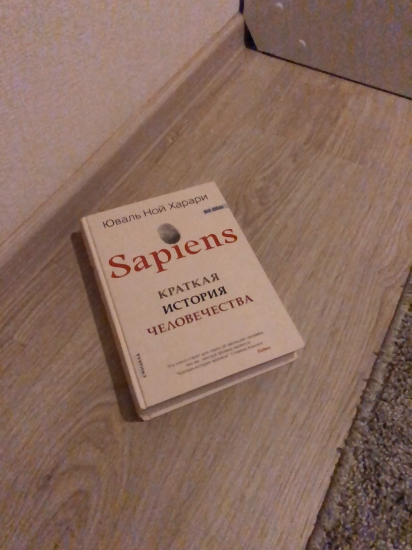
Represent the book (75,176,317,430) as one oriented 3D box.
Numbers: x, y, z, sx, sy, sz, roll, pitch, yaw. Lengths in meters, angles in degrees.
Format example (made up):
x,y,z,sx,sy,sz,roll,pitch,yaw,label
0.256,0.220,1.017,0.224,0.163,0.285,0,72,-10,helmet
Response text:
x,y,z,sx,sy,sz,roll,pitch,yaw,label
-0.024,0.012,0.506,0.187,0.040,0.259,-17,58,-12,book
